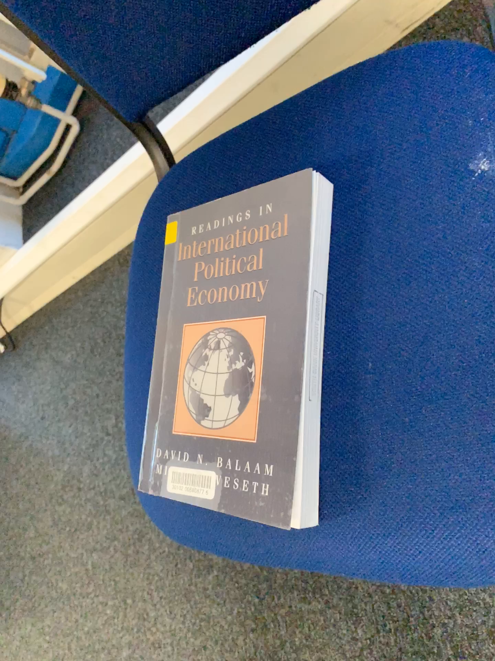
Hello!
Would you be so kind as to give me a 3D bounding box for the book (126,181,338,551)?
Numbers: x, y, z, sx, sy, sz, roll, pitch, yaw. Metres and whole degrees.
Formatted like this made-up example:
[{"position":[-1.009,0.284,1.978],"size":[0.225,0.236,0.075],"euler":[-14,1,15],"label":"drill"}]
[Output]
[{"position":[-0.014,0.021,0.361],"size":[0.151,0.030,0.220],"euler":[-5,75,40],"label":"book"}]
